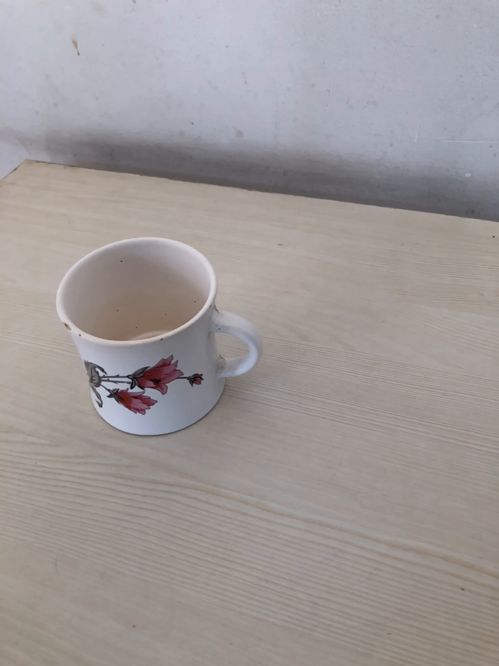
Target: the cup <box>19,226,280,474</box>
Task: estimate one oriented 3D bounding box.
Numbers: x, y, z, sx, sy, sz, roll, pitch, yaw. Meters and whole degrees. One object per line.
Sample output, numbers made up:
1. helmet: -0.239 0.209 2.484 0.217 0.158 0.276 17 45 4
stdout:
1. cup: -0.038 0.005 0.264 0.090 0.070 0.081 8 45 11
